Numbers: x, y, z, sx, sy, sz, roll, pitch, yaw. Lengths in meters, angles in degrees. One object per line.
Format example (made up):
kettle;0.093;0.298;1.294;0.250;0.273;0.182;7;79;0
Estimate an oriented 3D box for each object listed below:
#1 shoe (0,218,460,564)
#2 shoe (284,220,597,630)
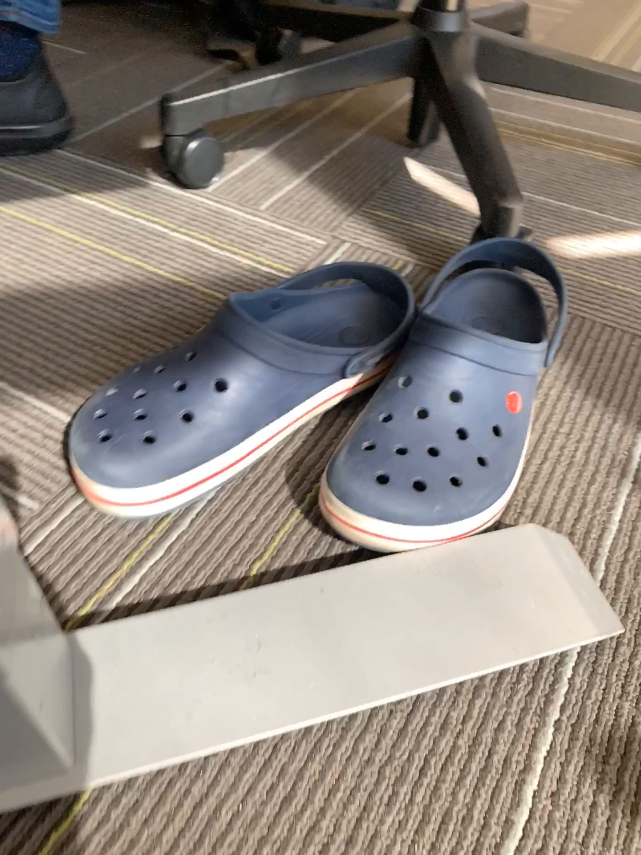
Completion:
shoe;-0.054;-0.048;0.516;0.320;0.080;0.130;-31;56;-27
shoe;0.106;-0.030;0.508;0.130;0.080;0.331;20;50;16
